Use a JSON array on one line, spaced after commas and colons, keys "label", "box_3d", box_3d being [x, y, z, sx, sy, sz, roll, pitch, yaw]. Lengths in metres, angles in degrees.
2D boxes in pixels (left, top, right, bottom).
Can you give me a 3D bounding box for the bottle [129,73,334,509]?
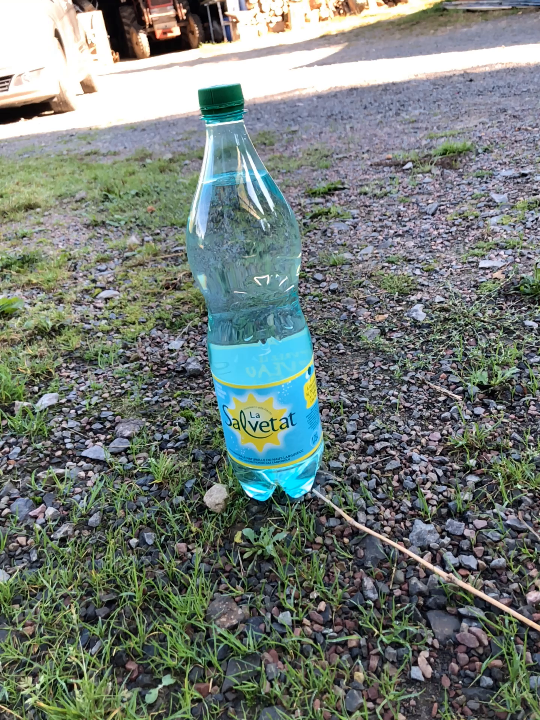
[{"label": "bottle", "box_3d": [-0.012, -0.042, 0.442, 0.090, 0.298, 0.101, 0, 27, 13]}]
